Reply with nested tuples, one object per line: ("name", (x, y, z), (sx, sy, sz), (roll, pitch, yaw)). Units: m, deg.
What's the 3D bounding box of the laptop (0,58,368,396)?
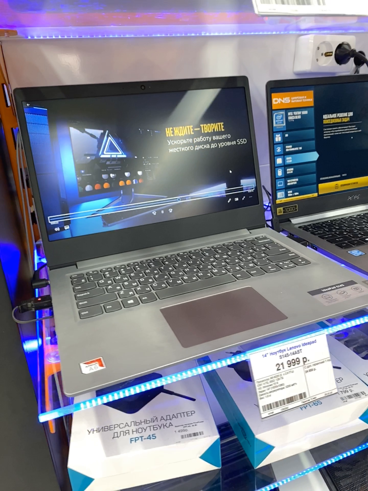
("laptop", (0.003, -0.070, 0.423), (0.327, 0.215, 0.304), (-11, 24, -18))
